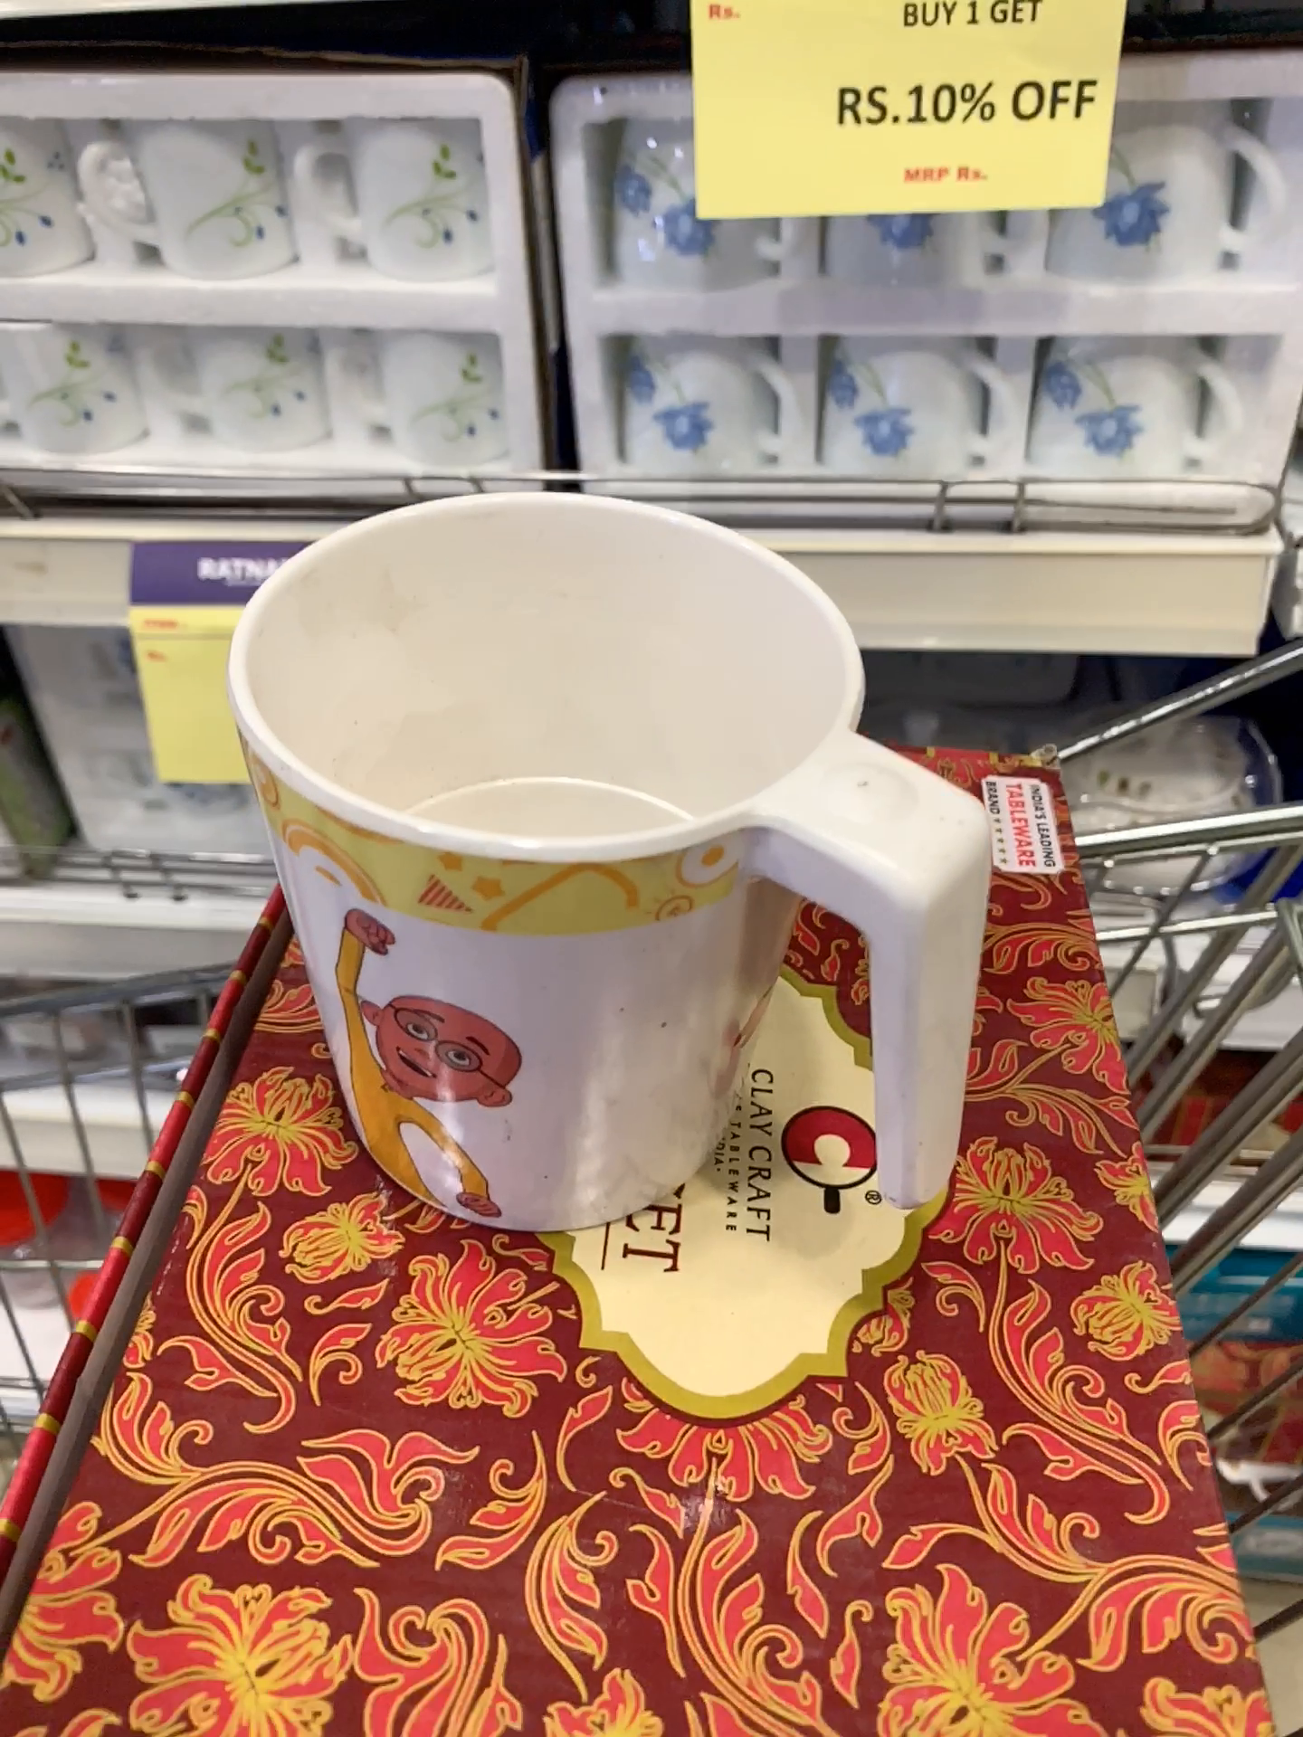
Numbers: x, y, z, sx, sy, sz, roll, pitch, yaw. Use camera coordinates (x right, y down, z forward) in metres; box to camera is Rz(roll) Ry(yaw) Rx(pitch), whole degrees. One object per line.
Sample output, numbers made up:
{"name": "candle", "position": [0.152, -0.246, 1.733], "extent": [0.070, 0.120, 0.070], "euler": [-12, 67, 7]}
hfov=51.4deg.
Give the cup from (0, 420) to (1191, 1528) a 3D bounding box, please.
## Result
{"name": "cup", "position": [-0.006, 0.006, 0.182], "extent": [0.110, 0.080, 0.080], "euler": [25, 48, 23]}
